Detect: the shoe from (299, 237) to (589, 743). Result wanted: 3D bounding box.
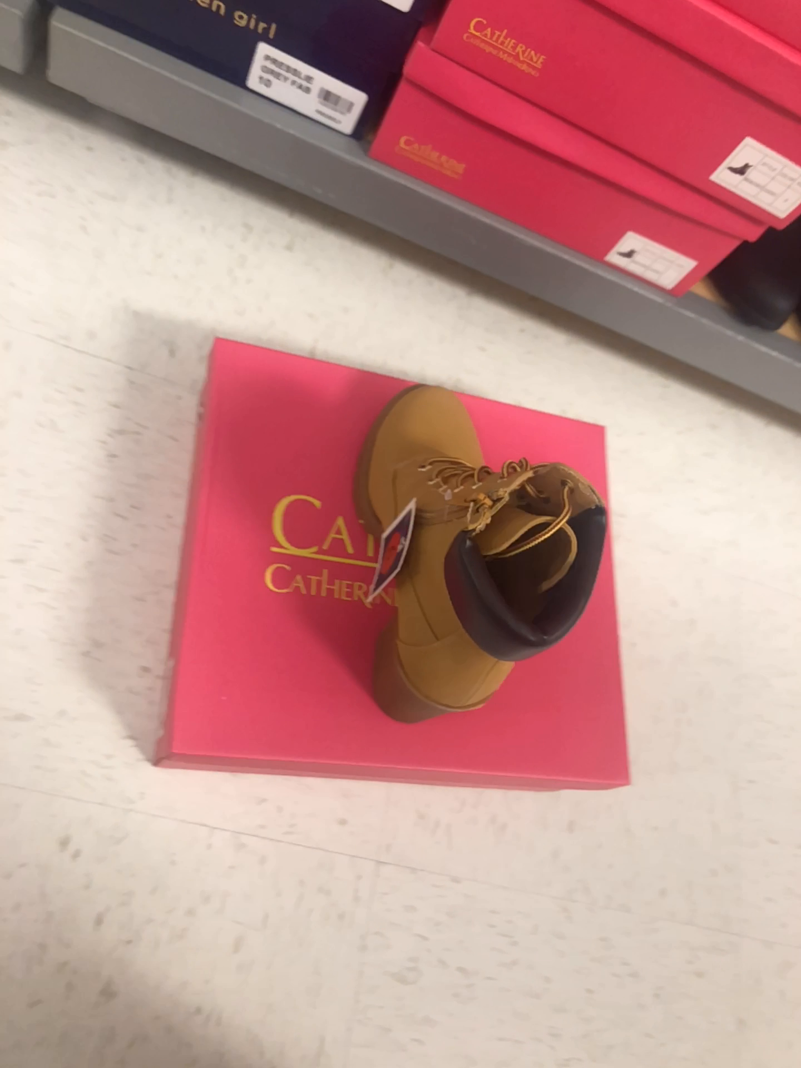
[{"bbox_3d":[0.021,-0.012,0.492,0.085,0.169,0.217,13,65,-18],"label":"shoe"}]
